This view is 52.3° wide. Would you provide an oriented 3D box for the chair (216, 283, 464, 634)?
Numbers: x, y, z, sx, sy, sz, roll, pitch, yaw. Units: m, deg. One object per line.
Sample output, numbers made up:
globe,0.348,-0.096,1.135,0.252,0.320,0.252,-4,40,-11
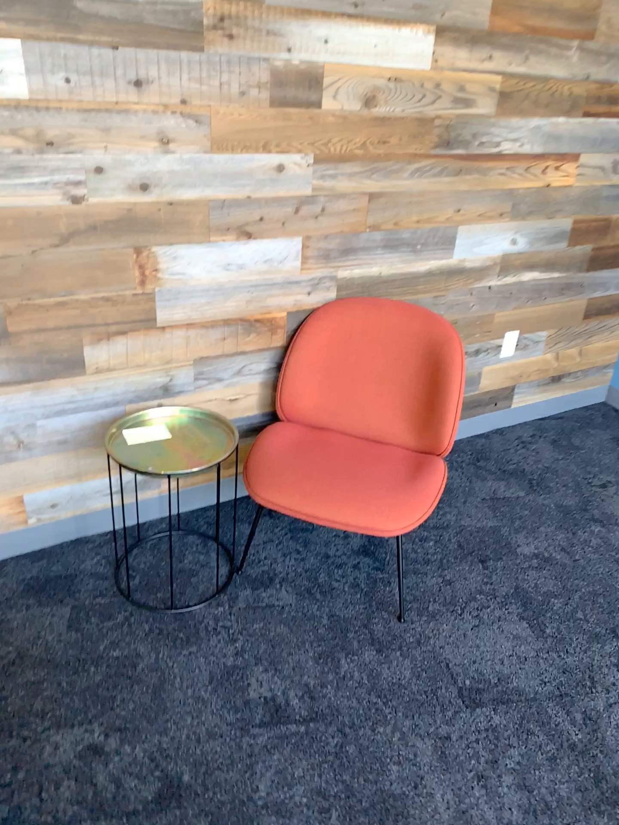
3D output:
chair,0.116,0.093,1.997,0.570,0.756,0.714,10,29,13
